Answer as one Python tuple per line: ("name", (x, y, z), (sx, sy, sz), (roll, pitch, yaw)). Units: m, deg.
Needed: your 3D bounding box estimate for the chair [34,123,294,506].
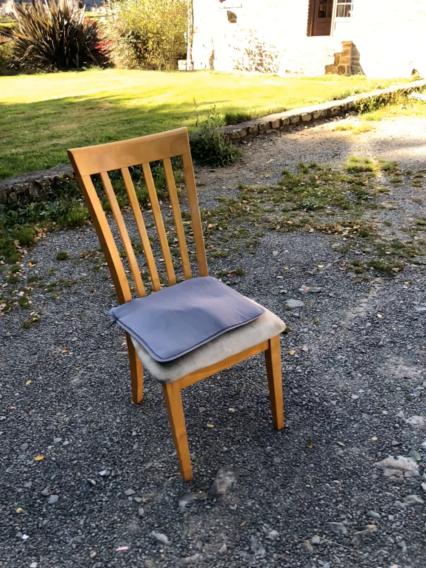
("chair", (-0.146, 0.054, 1.547), (0.512, 0.995, 0.611), (-19, 32, -28))
